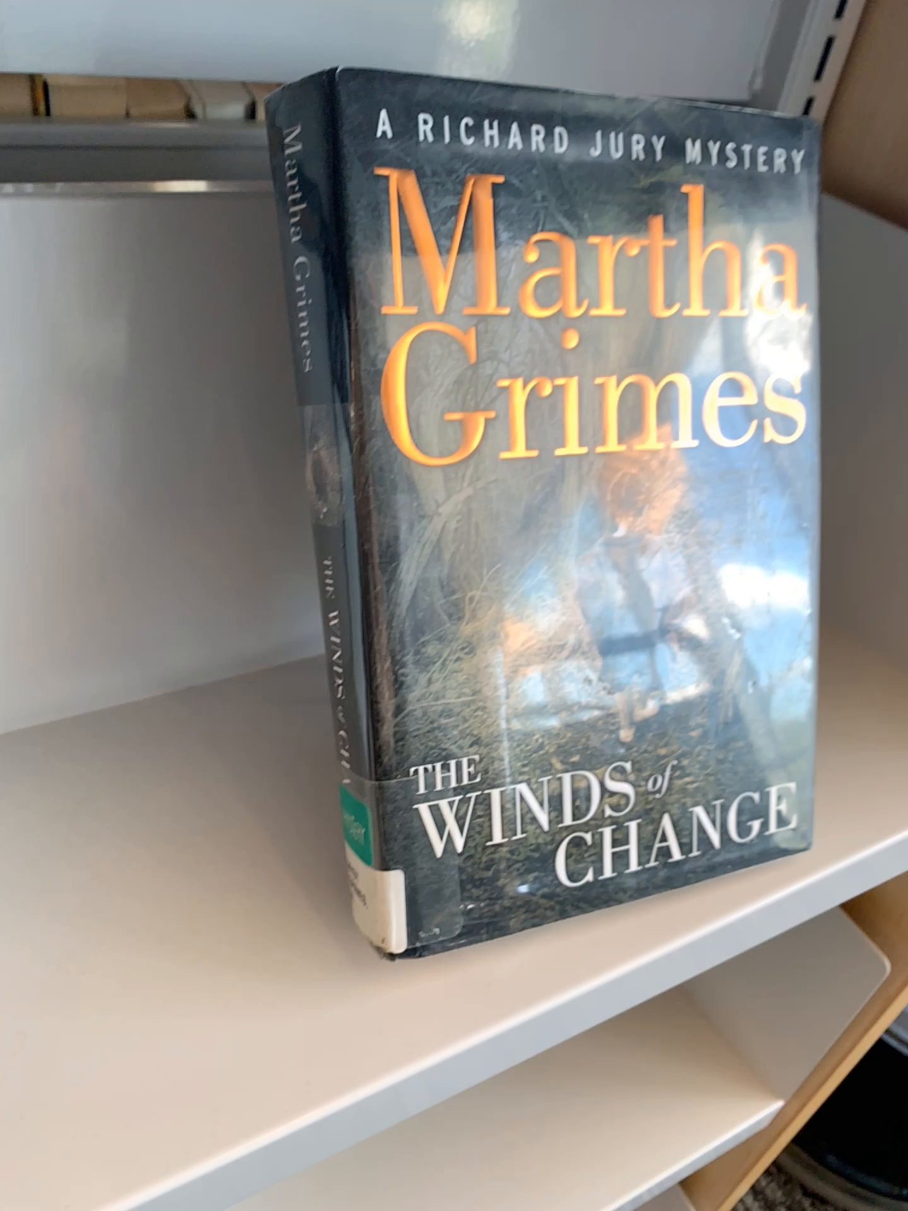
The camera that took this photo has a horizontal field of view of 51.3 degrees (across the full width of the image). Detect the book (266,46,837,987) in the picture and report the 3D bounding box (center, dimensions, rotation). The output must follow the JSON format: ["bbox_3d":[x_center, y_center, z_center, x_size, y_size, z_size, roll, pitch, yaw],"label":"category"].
[{"bbox_3d":[0.037,-0.026,0.296,0.160,0.244,0.050,-8,11,-21],"label":"book"}]
